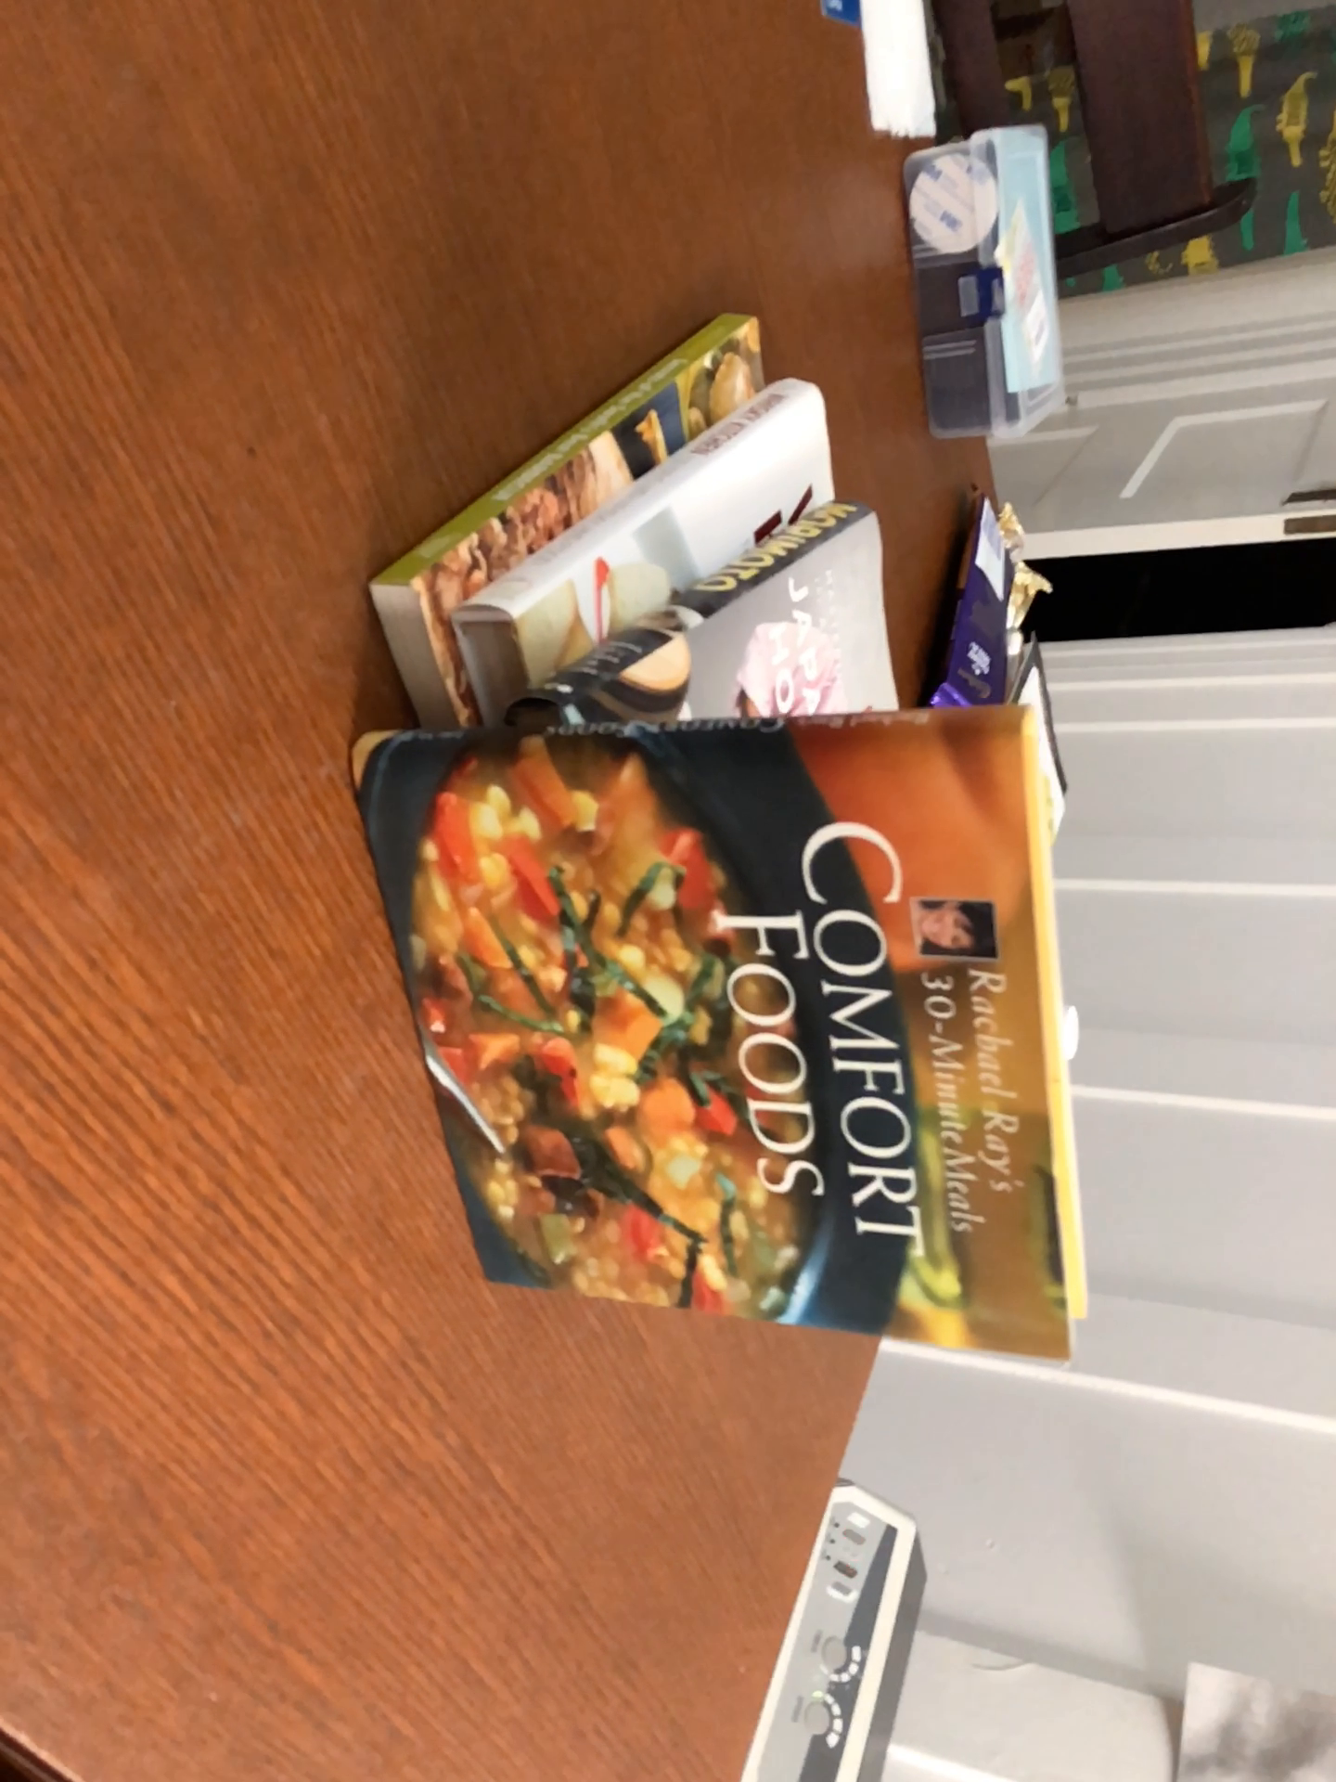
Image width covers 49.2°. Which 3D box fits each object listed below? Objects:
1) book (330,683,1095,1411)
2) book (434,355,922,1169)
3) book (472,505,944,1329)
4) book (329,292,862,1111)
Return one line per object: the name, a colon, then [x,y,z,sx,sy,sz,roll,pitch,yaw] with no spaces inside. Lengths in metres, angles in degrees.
book: [0.015,0.046,0.443,0.030,0.209,0.210,-45,131,-55]
book: [0.029,-0.066,0.588,0.281,0.030,0.220,-50,134,-47]
book: [0.039,-0.009,0.580,0.281,0.030,0.220,-44,129,-51]
book: [-0.002,-0.089,0.588,0.281,0.030,0.220,-52,135,-46]
